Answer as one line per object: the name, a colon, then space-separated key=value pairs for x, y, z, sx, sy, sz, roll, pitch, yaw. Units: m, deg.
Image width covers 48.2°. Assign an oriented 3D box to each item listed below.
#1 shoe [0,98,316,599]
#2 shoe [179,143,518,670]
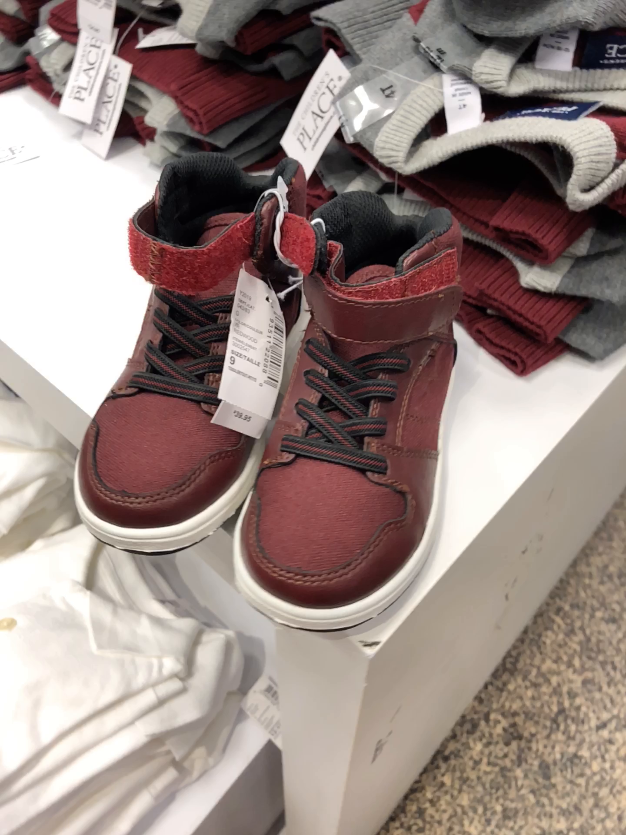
shoe: x=-0.054 y=-0.033 z=0.269 sx=0.070 sy=0.100 sz=0.160 roll=12 pitch=50 yaw=9
shoe: x=0.024 y=-0.014 z=0.282 sx=0.080 sy=0.100 sz=0.181 roll=12 pitch=50 yaw=9
